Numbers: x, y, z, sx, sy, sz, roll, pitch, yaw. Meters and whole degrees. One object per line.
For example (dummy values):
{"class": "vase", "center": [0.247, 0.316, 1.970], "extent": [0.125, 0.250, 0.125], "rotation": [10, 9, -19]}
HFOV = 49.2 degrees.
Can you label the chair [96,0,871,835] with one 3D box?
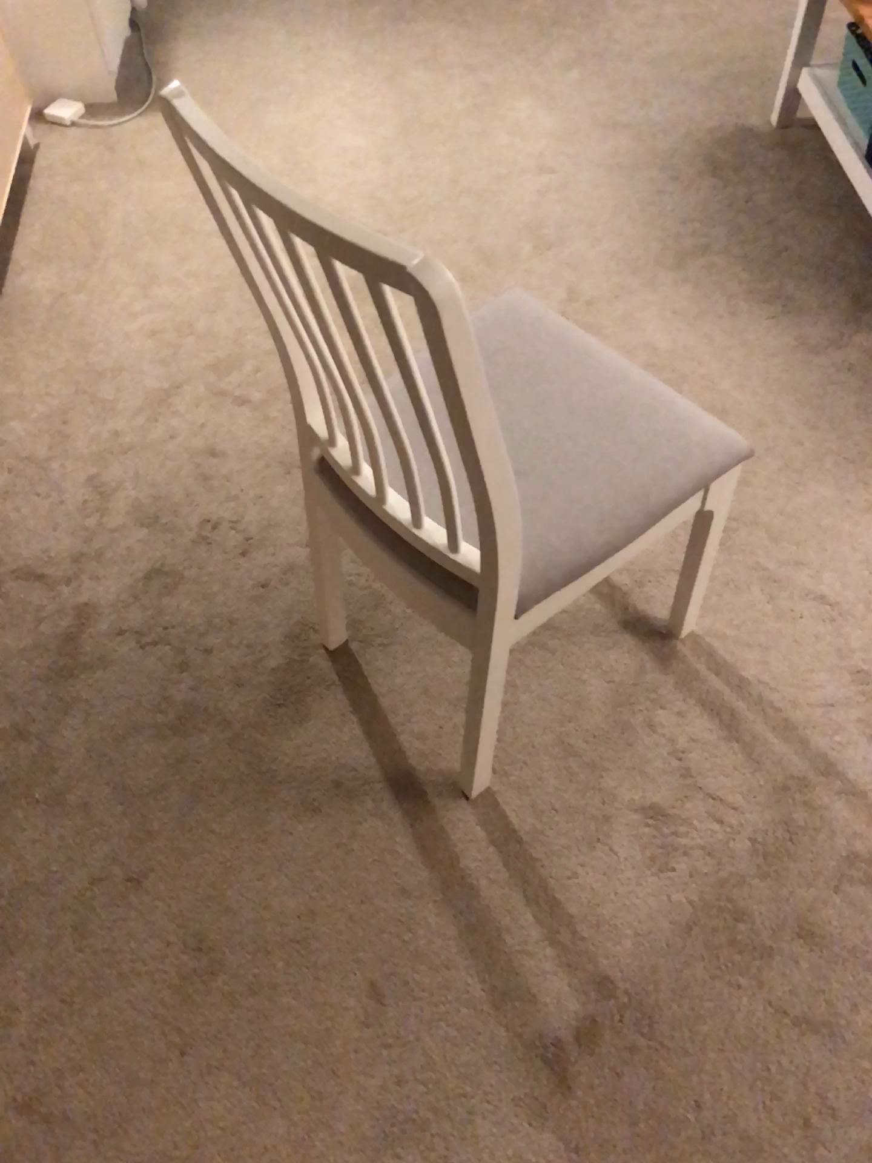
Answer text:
{"class": "chair", "center": [0.079, -0.204, 1.206], "extent": [0.551, 0.906, 0.501], "rotation": [-34, 59, -20]}
